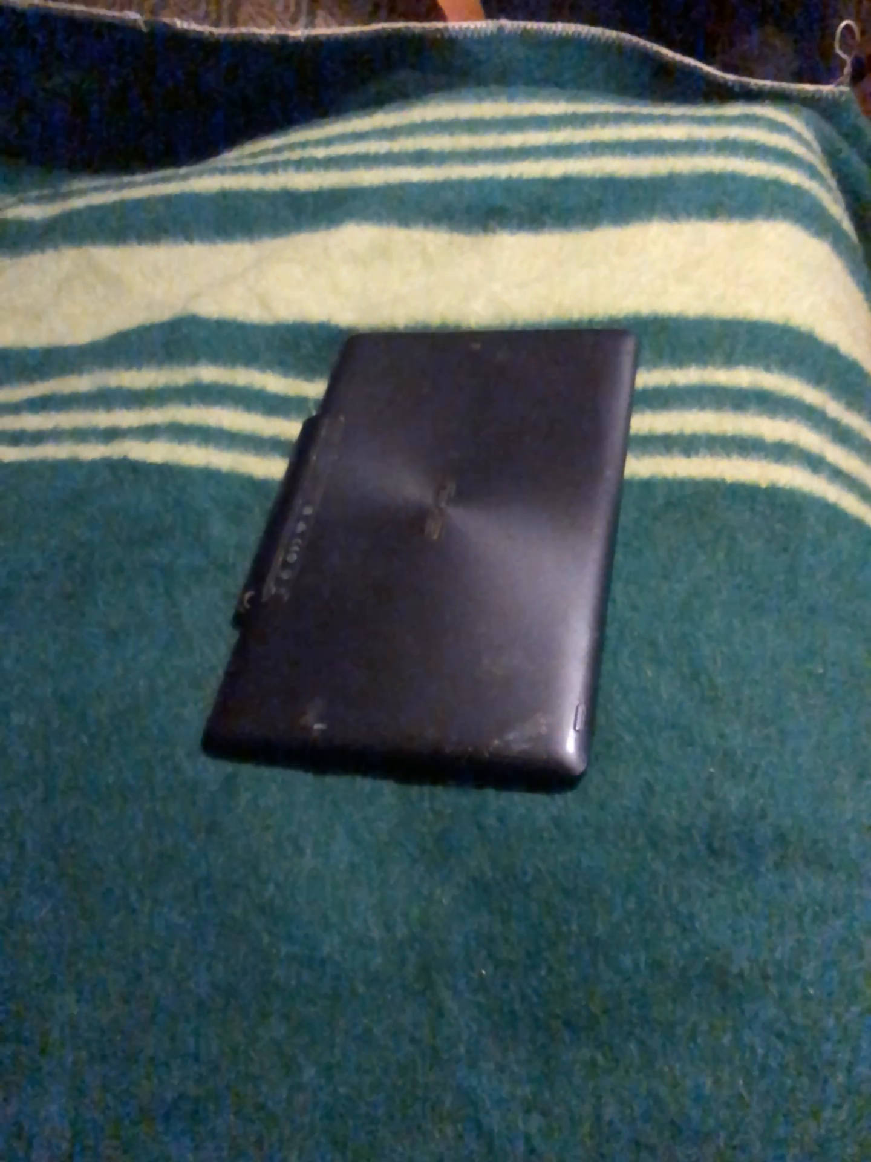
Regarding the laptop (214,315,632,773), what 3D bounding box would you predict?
[{"bbox_3d":[0.005,-0.039,0.484,0.167,0.017,0.263,3,56,14],"label":"laptop"}]
